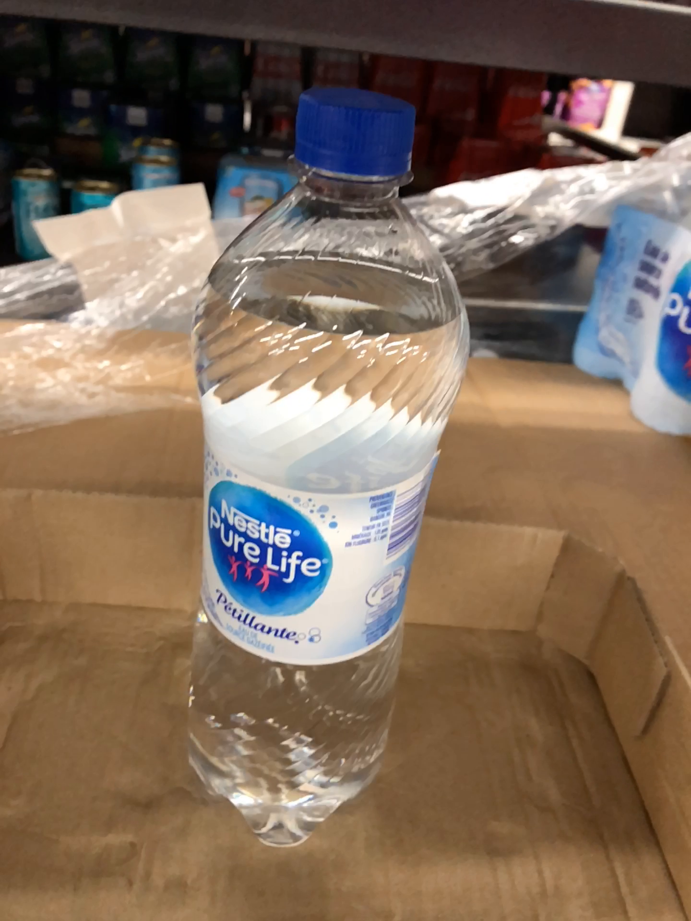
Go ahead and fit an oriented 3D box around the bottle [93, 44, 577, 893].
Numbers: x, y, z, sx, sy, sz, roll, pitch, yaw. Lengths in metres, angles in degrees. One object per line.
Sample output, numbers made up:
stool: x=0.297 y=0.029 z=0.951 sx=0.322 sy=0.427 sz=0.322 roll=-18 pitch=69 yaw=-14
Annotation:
bottle: x=-0.013 y=0.010 z=0.287 sx=0.100 sy=0.278 sz=0.101 roll=6 pitch=30 yaw=-3
